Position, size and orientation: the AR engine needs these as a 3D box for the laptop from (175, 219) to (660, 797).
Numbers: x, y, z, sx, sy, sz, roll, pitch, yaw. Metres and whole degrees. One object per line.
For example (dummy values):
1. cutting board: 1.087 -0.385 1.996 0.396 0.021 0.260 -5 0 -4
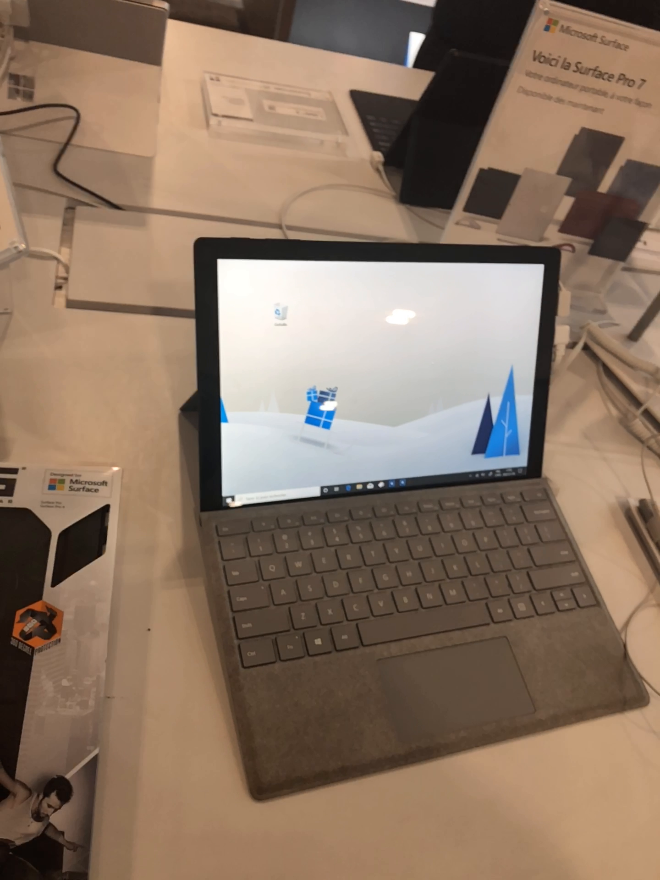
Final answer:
1. laptop: 0.069 0.022 0.496 0.285 0.150 0.308 -3 54 -22
